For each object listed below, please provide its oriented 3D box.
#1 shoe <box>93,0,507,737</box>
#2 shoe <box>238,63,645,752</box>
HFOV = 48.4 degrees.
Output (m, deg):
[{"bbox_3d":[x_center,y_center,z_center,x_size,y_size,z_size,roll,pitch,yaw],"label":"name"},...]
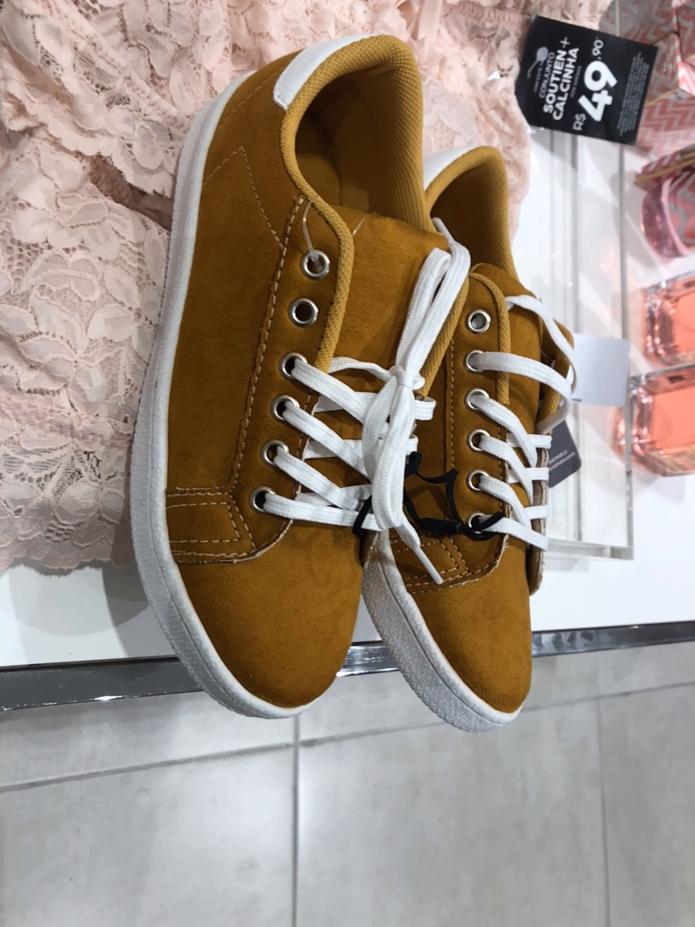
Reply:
[{"bbox_3d":[-0.019,-0.038,0.276,0.090,0.099,0.240,13,71,-51],"label":"shoe"},{"bbox_3d":[0.035,-0.015,0.326,0.101,0.099,0.240,10,69,-52],"label":"shoe"}]
